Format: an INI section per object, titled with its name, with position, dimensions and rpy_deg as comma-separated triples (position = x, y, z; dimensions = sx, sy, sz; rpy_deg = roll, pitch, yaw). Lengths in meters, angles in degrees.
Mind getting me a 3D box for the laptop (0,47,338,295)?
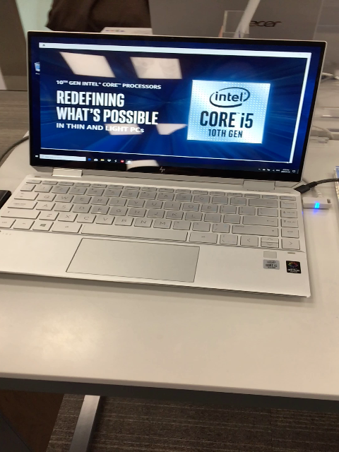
[laptop]
position = -0.023, -0.072, 0.461
dimensions = 0.330, 0.150, 0.248
rpy_deg = 5, 41, 7
